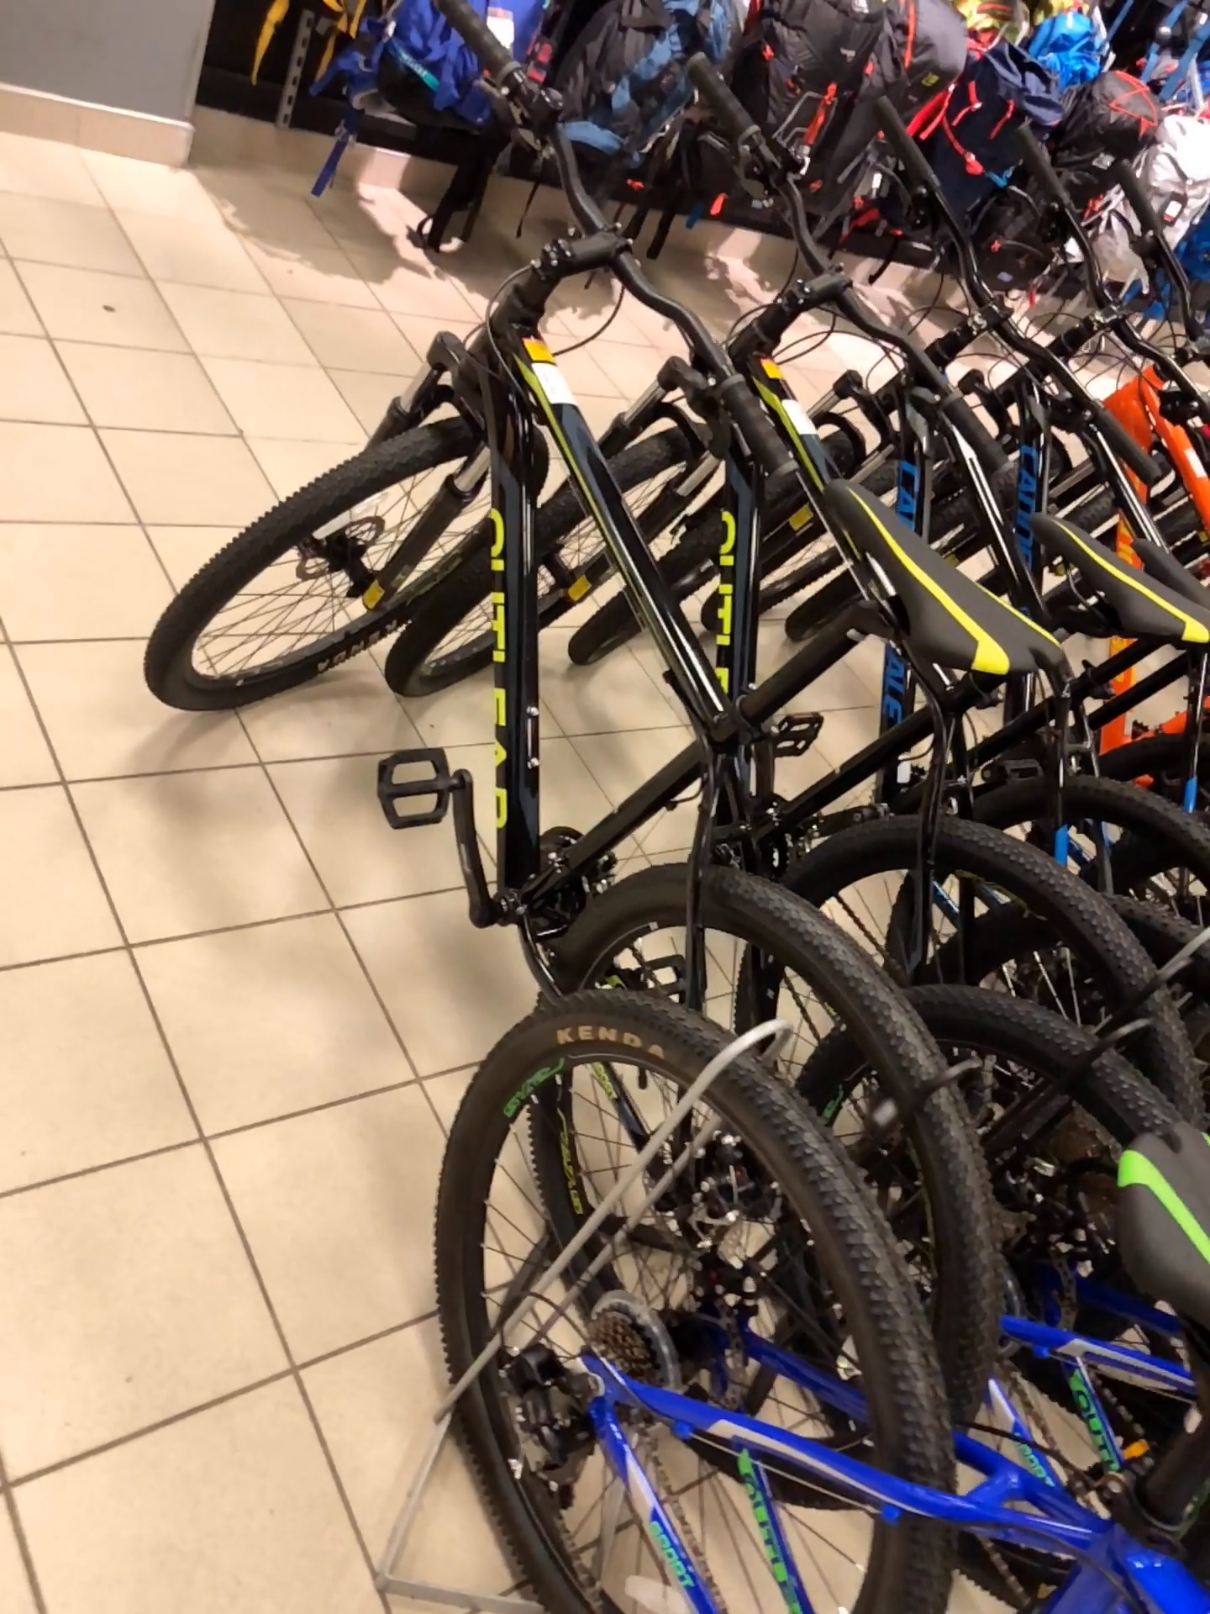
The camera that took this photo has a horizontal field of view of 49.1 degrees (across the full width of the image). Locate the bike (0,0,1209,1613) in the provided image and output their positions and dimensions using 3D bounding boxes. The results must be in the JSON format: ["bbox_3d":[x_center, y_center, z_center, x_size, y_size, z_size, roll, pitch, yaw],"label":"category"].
[{"bbox_3d":[-0.108,0.053,1.354,0.664,1.043,1.354,-18,57,-45],"label":"bike"}]
